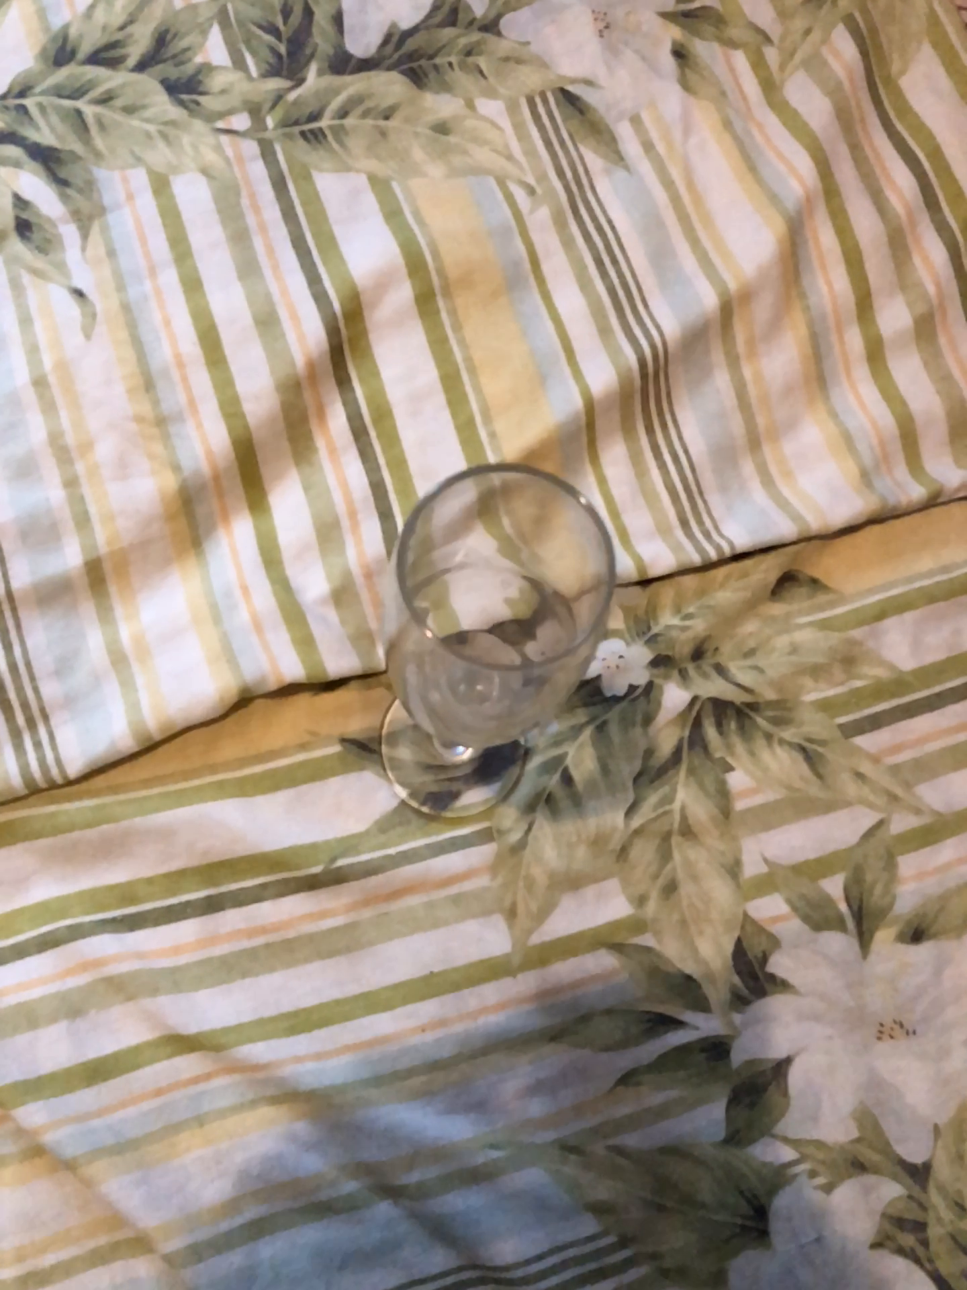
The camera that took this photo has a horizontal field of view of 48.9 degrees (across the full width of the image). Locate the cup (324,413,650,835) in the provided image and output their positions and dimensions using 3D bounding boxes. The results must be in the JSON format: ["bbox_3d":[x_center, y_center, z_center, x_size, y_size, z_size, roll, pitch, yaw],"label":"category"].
[{"bbox_3d":[-0.005,0.013,0.348,0.071,0.218,0.082,1,76,-3],"label":"cup"}]
